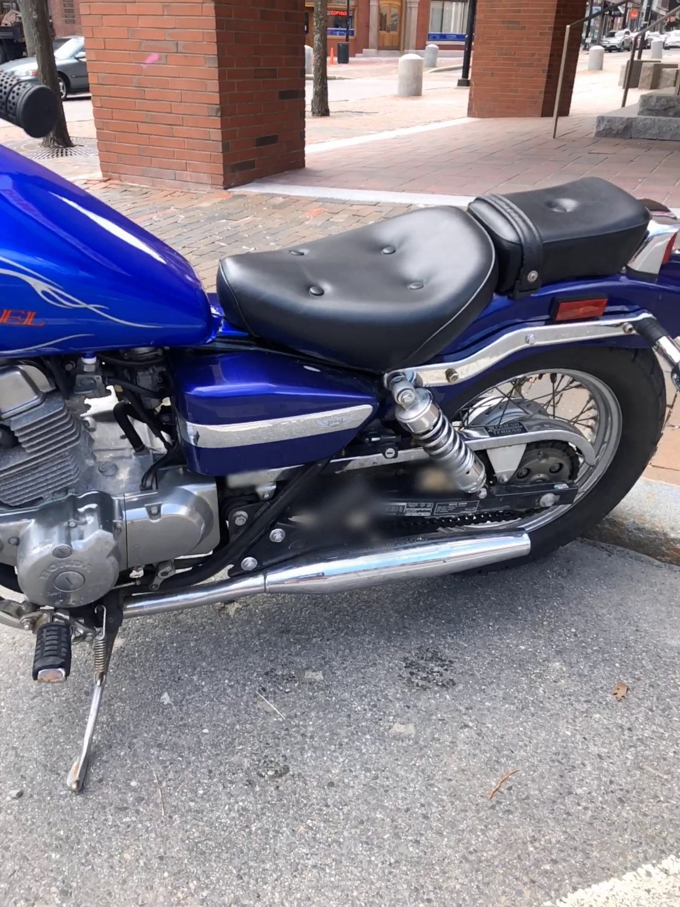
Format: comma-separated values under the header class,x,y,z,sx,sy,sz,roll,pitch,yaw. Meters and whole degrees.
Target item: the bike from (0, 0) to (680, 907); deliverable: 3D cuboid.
class,x,y,z,sx,sy,sz,roll,pitch,yaw
bike,-0.220,-0.054,0.874,2.028,1.178,0.929,-8,30,-23
